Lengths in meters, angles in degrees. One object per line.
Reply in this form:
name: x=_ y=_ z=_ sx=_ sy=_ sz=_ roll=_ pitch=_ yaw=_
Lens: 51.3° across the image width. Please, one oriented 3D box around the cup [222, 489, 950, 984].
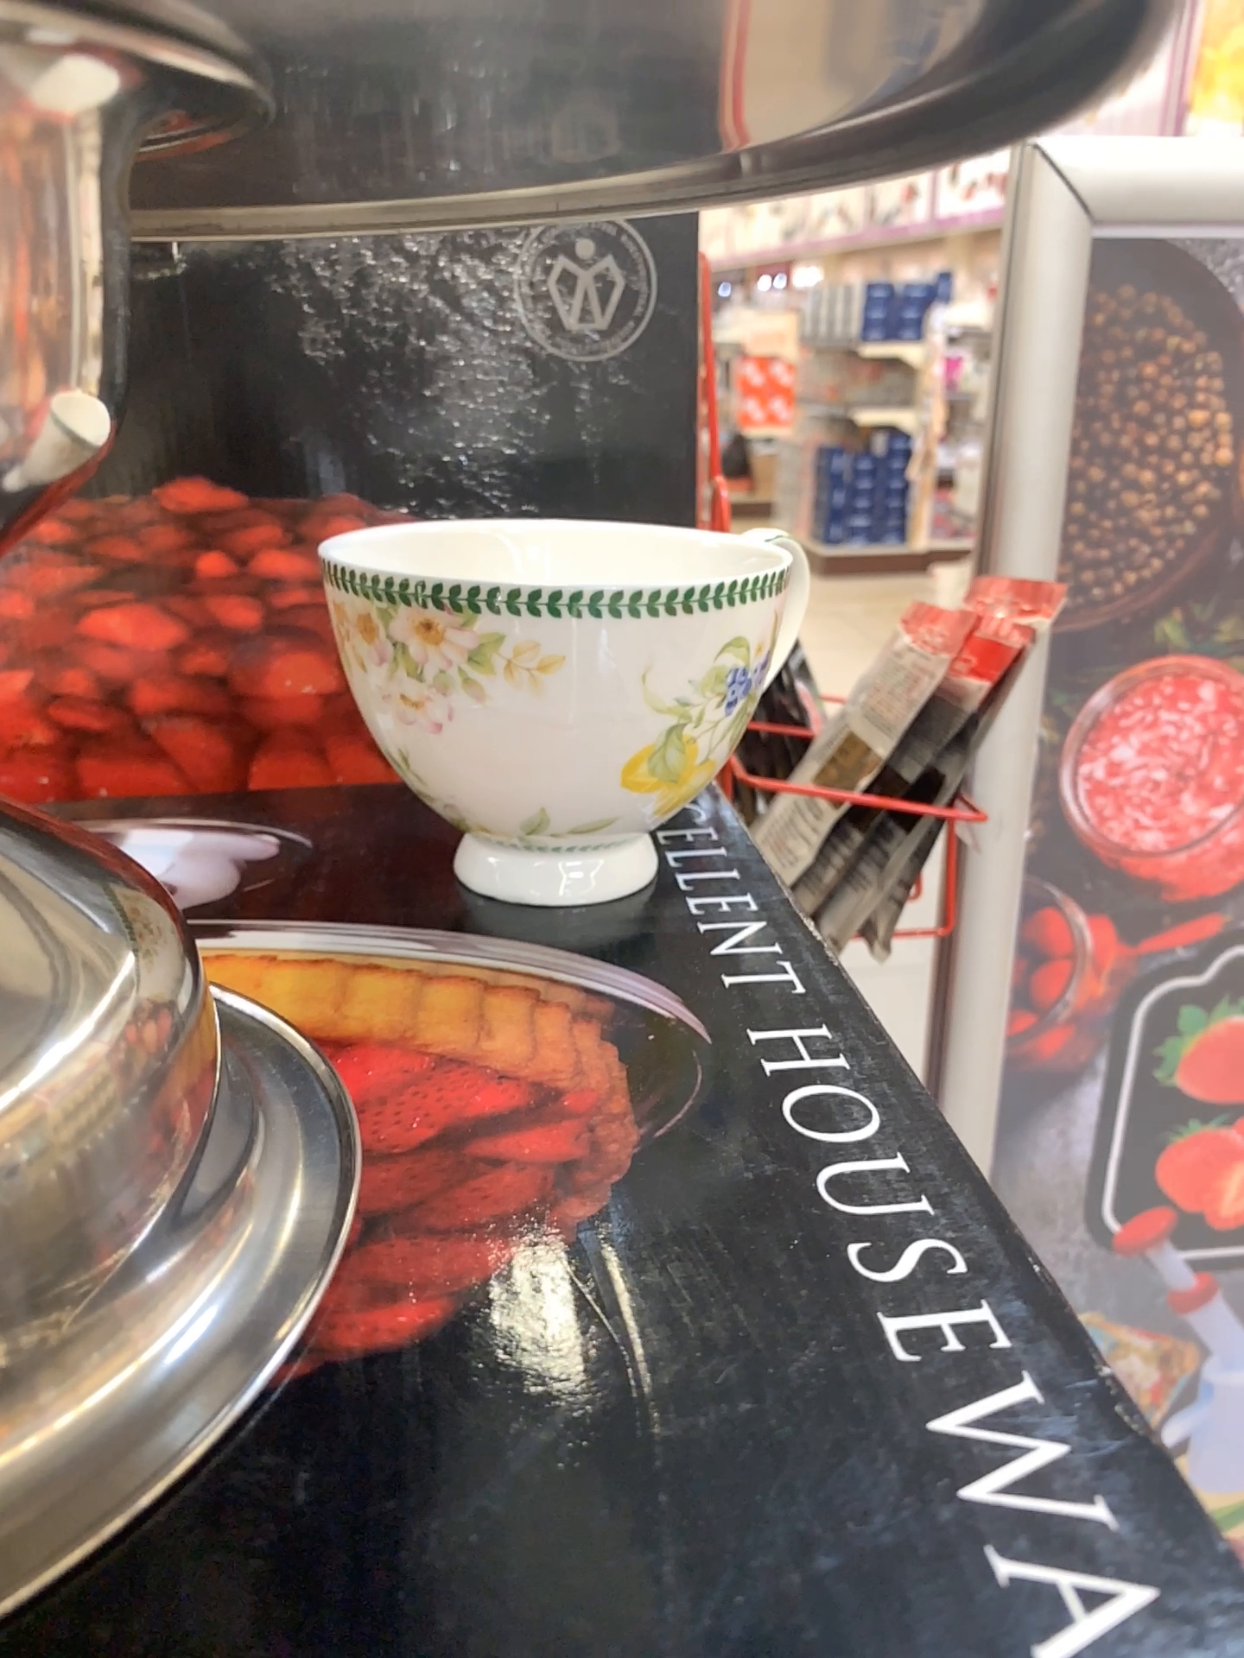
cup: x=-0.006 y=-0.034 z=0.303 sx=0.130 sy=0.070 sz=0.100 roll=-19 pitch=29 yaw=-40
